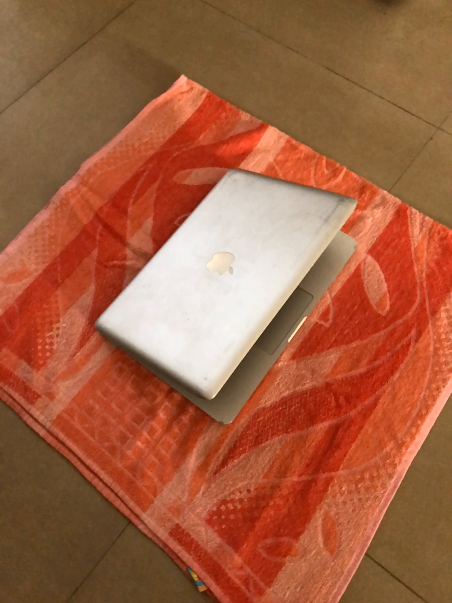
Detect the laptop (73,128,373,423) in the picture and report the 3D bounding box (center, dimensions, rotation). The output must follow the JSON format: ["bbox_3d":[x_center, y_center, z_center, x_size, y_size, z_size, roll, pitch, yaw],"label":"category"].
[{"bbox_3d":[0.003,-0.045,0.643,0.223,0.087,0.311,34,71,15],"label":"laptop"}]
